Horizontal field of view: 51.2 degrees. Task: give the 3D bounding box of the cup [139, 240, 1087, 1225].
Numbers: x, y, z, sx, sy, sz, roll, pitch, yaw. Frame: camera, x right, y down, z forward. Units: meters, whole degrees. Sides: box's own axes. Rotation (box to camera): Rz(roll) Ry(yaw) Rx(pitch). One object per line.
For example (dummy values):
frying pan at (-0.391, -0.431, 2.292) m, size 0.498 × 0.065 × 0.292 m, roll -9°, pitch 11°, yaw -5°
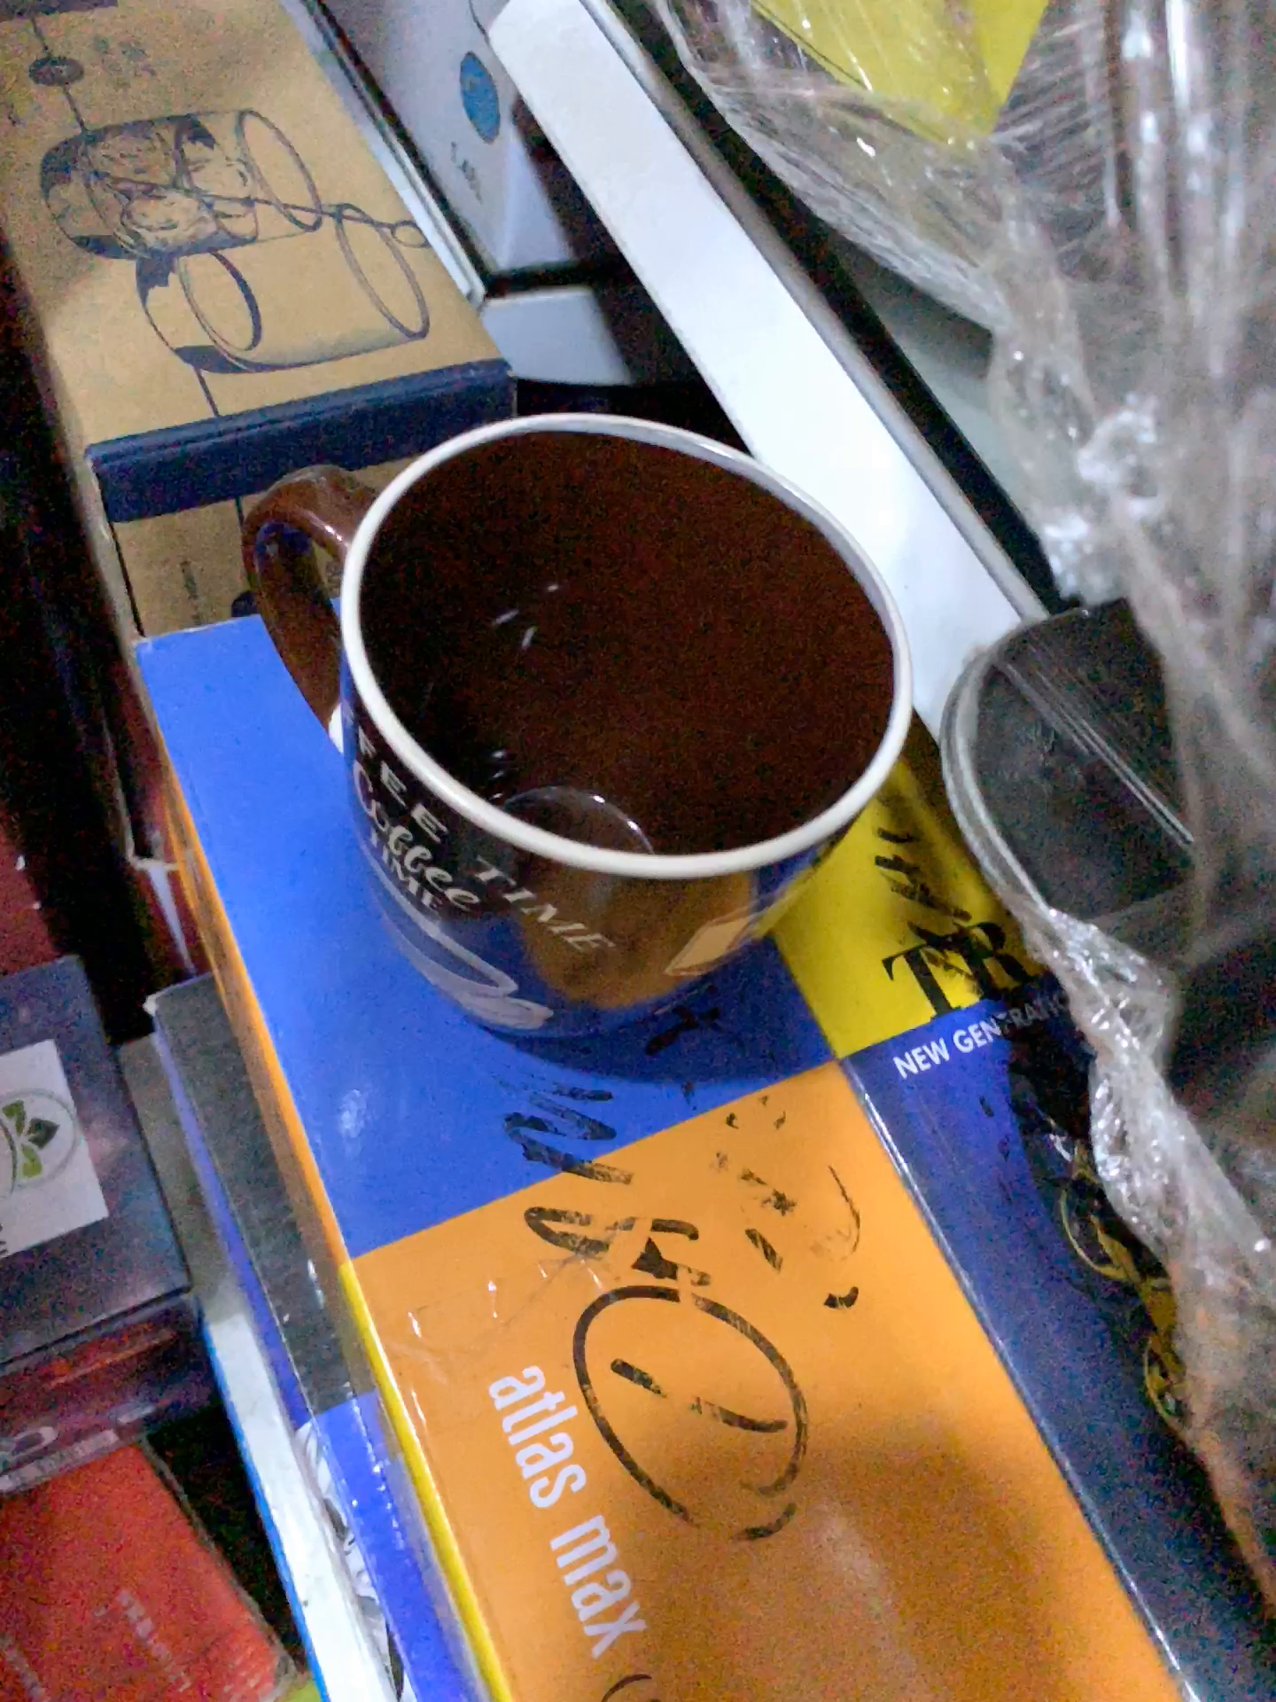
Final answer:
cup at (-0.010, -0.018, 0.207) m, size 0.070 × 0.080 × 0.110 m, roll -34°, pitch 72°, yaw -28°
